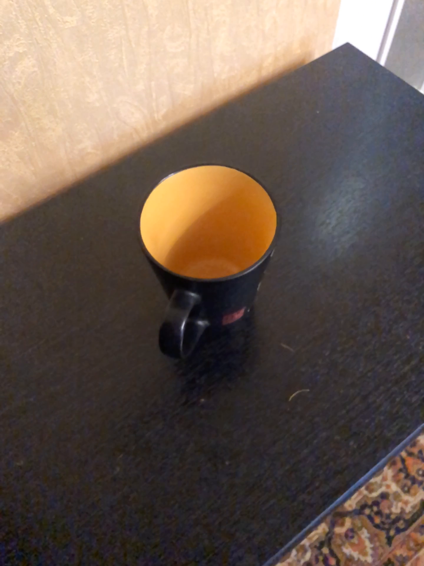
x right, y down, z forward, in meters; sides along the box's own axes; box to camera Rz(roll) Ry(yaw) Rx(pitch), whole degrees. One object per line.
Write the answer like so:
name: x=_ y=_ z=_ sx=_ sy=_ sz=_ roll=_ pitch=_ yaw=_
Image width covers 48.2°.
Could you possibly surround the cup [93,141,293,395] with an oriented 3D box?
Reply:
cup: x=-0.005 y=-0.009 z=0.332 sx=0.090 sy=0.100 sz=0.130 roll=12 pitch=62 yaw=9
